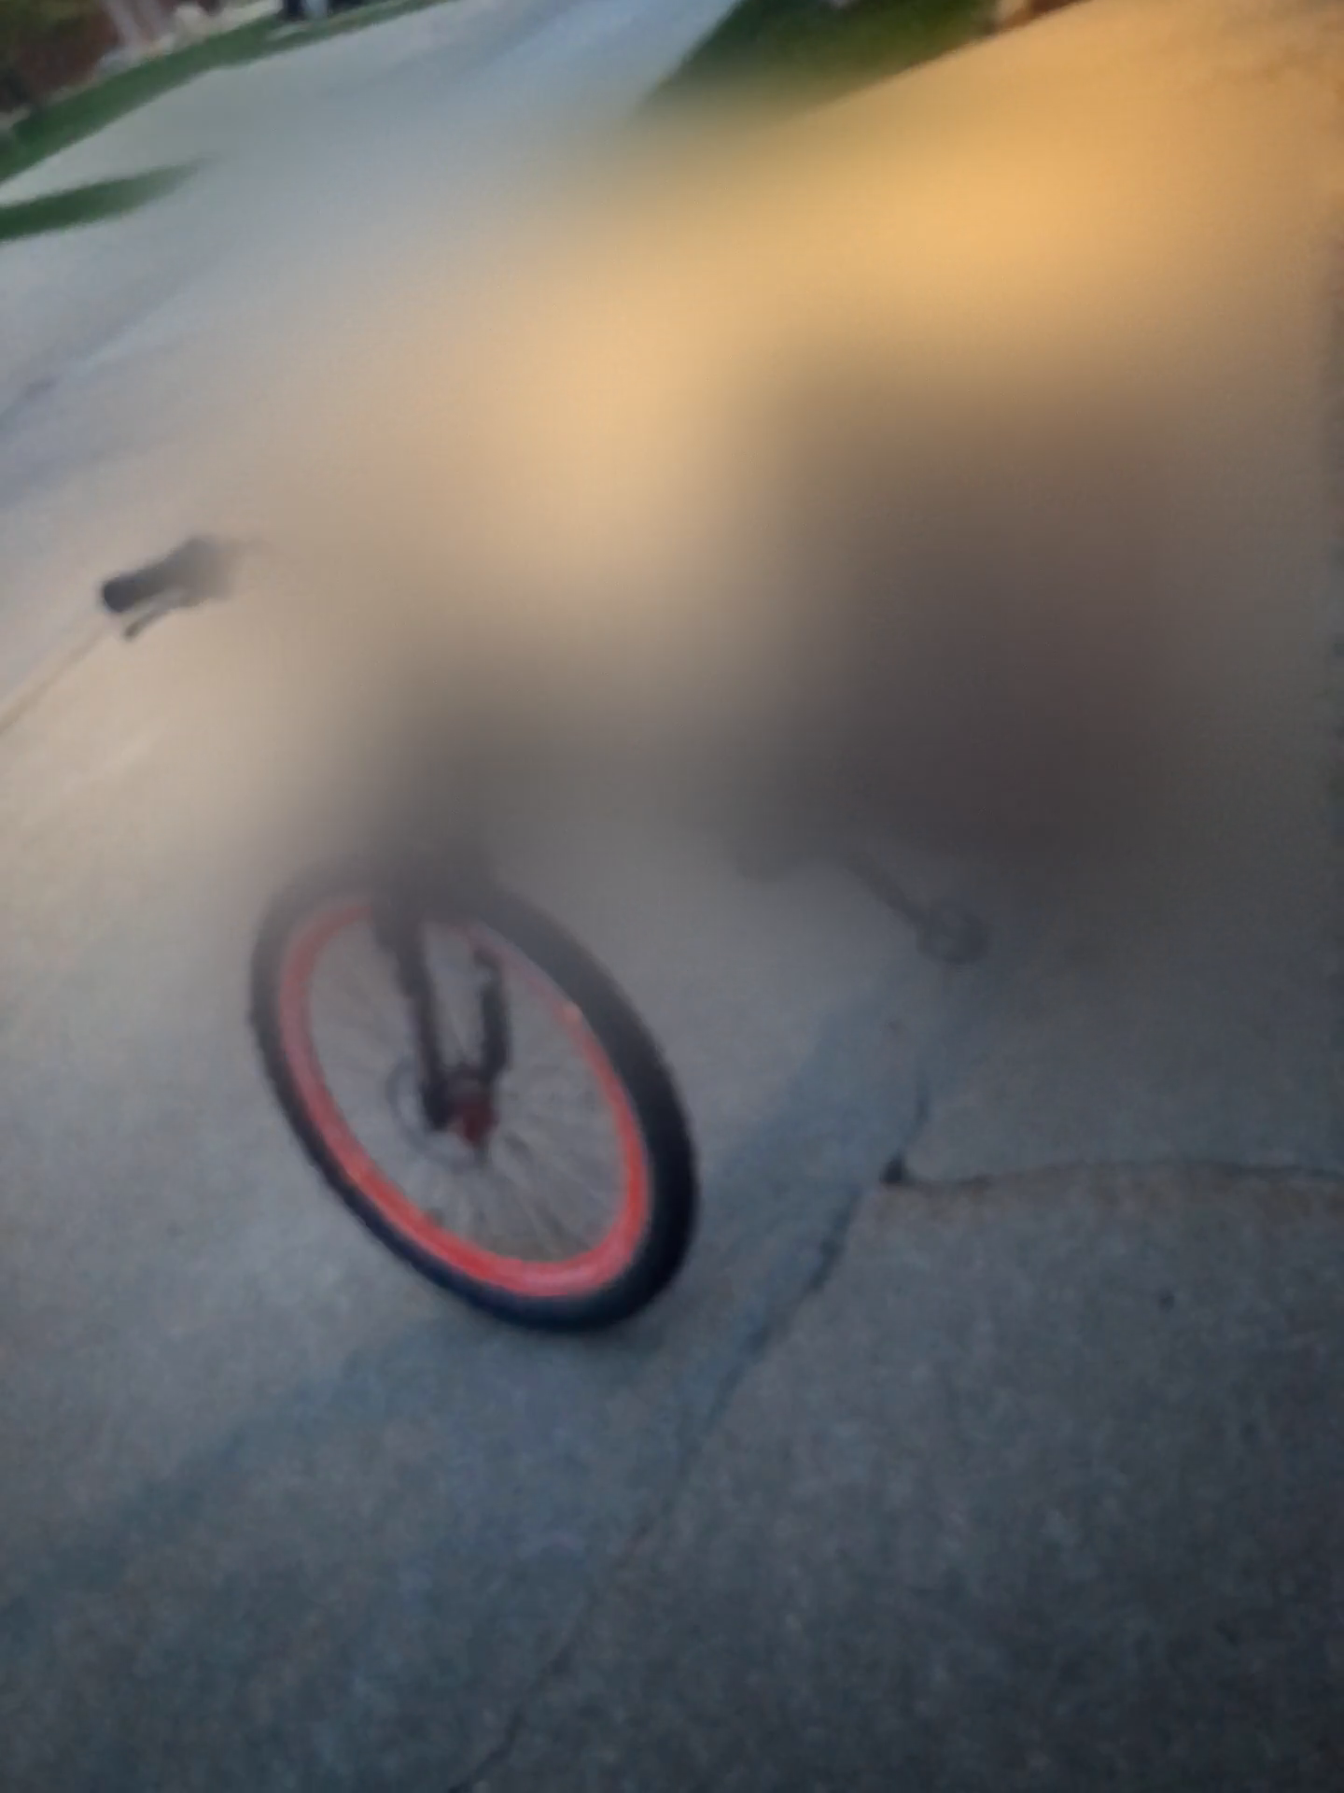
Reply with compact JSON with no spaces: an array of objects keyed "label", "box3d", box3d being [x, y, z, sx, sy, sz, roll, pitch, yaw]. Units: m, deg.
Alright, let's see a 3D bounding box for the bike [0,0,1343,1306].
[{"label":"bike","box3d":[0.035,-0.328,1.920,1.424,1.031,0.601,-32,34,-12]}]
